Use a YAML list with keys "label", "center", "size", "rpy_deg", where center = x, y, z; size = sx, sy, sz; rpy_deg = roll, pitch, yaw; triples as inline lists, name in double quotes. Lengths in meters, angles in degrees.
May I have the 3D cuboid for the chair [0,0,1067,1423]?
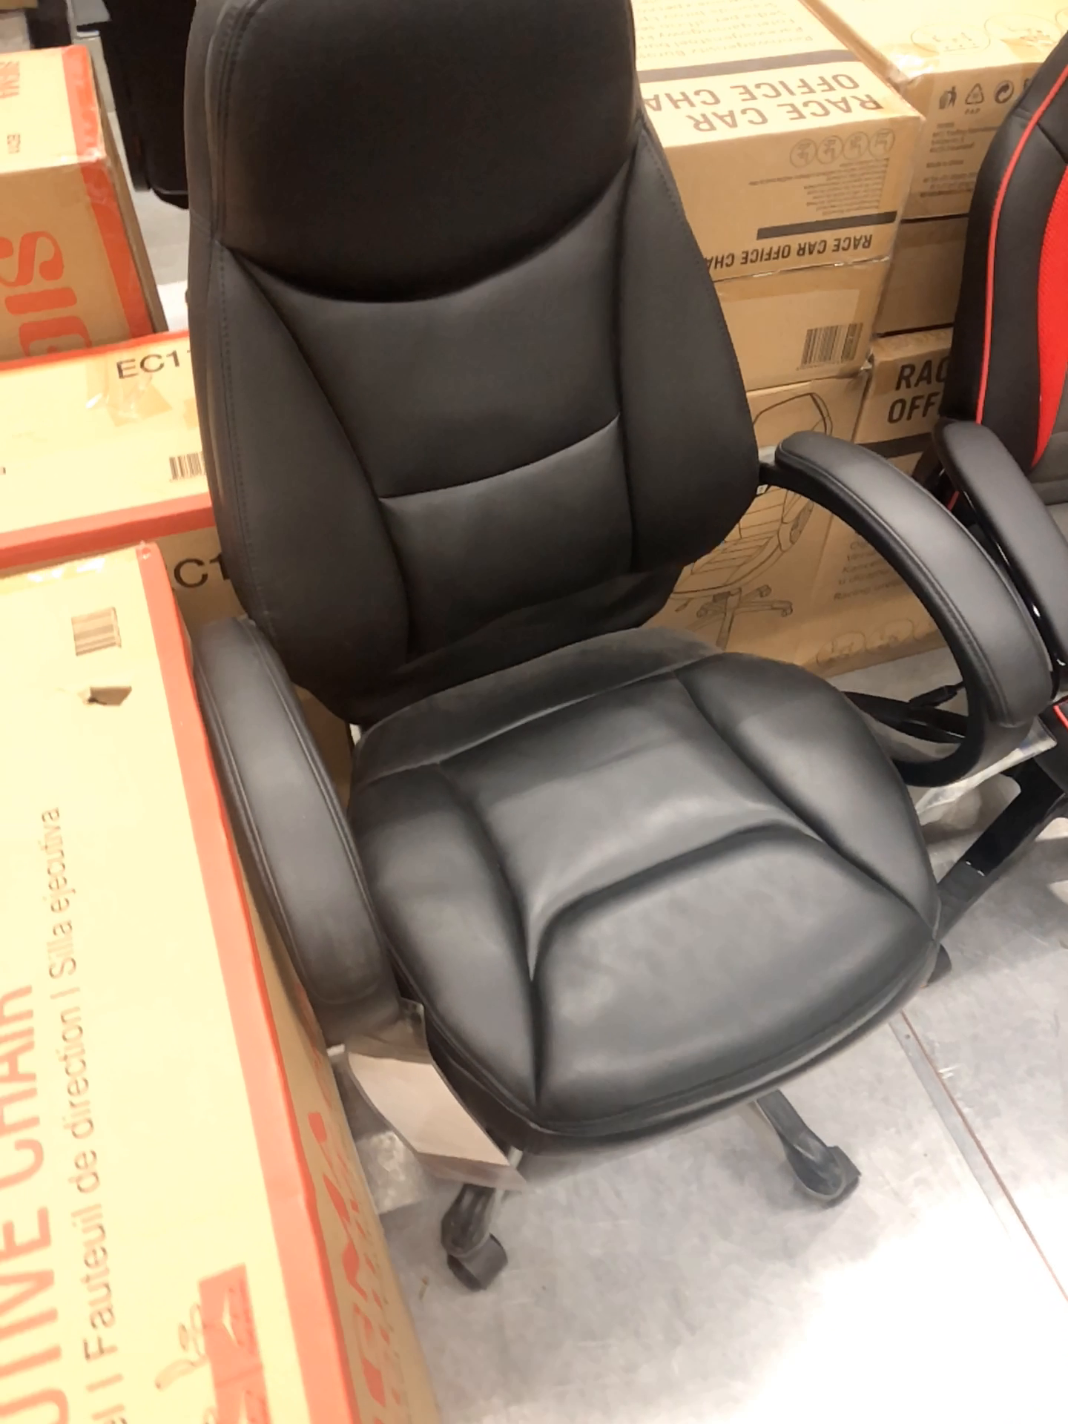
- label: "chair"
  center: [0.074, -0.001, 1.052]
  size: [0.721, 1.063, 0.743]
  rpy_deg: [-22, 53, -18]
